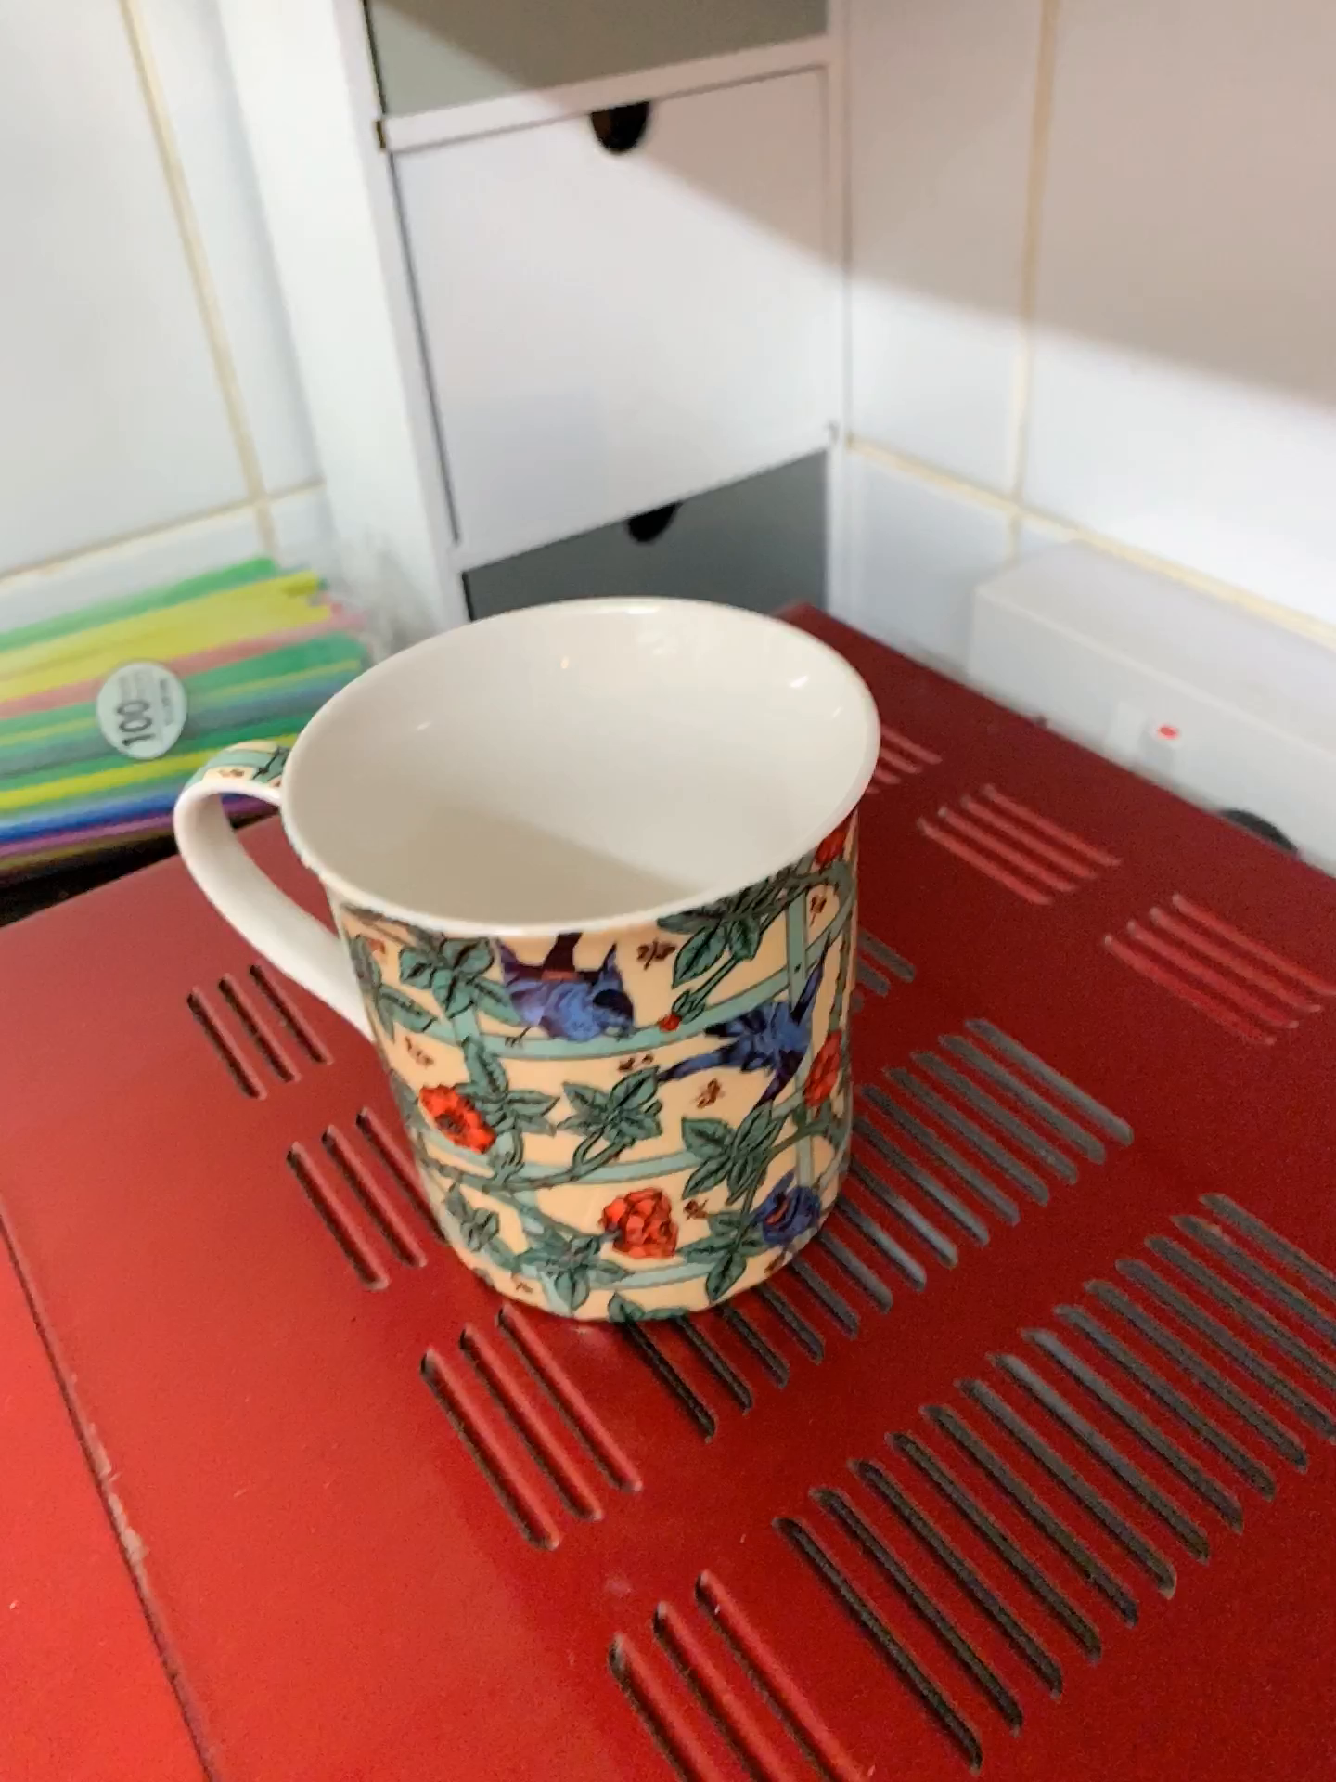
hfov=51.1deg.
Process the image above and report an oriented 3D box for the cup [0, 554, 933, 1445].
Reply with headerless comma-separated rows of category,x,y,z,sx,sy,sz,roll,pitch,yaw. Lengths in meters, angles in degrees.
cup,-0.026,0.009,0.213,0.110,0.079,0.081,12,41,22
